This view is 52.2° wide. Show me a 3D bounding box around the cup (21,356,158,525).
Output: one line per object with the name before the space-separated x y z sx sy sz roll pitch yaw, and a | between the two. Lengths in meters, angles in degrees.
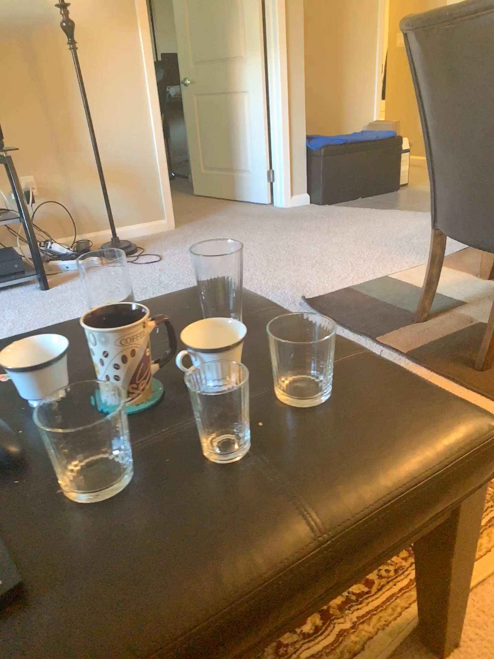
cup | -0.164 0.111 0.530 0.090 0.119 0.090 -4 25 2

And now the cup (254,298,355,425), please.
cup | 0.076 0.038 0.667 0.090 0.119 0.090 -4 25 2

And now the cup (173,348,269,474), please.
cup | -0.028 0.089 0.564 0.070 0.099 0.070 -4 25 2

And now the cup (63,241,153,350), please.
cup | -0.225 -0.058 0.822 0.090 0.139 0.090 -4 25 2

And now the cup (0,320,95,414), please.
cup | -0.289 0.048 0.691 0.110 0.080 0.090 7 28 23

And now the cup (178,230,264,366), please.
cup | -0.041 -0.055 0.833 0.090 0.189 0.090 -4 25 2

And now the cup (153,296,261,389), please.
cup | -0.053 0.014 0.693 0.110 0.070 0.090 -24 32 -35

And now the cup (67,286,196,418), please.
cup | -0.155 0.025 0.687 0.130 0.119 0.090 -19 29 -29
